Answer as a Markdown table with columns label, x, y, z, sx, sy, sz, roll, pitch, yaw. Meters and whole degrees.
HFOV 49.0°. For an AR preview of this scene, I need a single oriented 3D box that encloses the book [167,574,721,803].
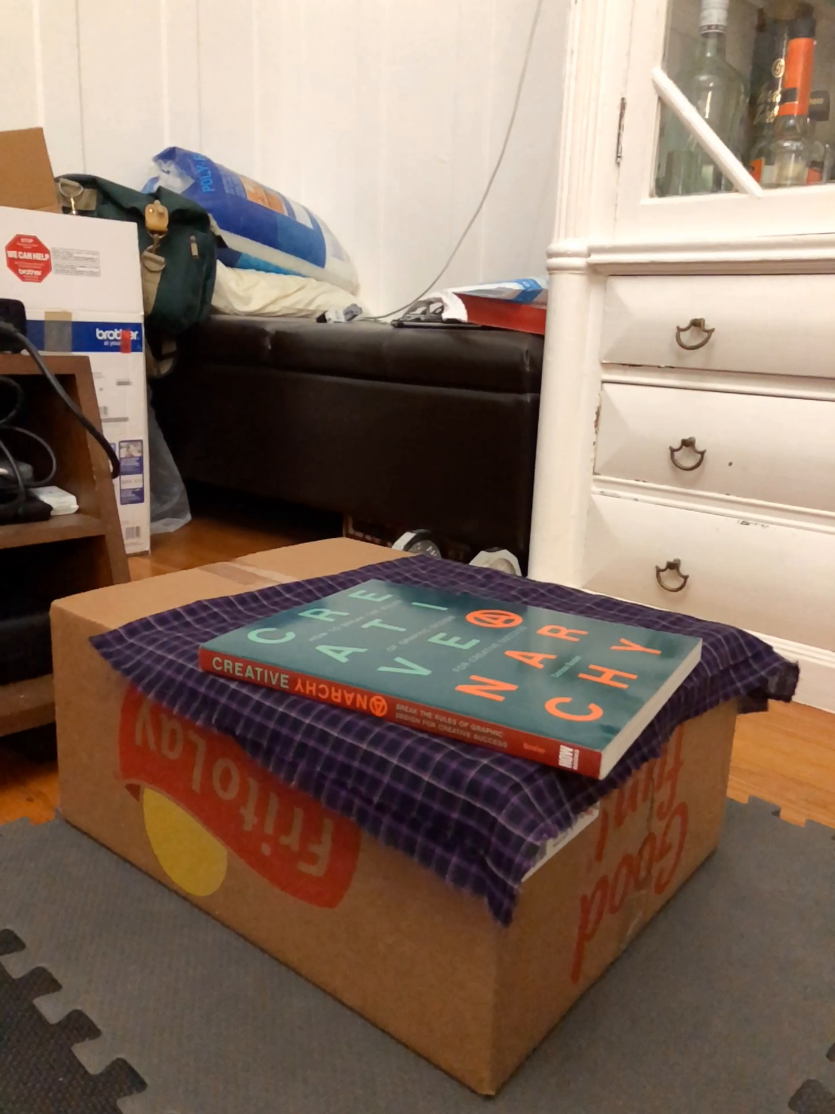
| label | x | y | z | sx | sy | sz | roll | pitch | yaw |
| --- | --- | --- | --- | --- | --- | --- | --- | --- | --- |
| book | 0.024 | 0.067 | 0.610 | 0.300 | 0.020 | 0.221 | 10 | 16 | 28 |
